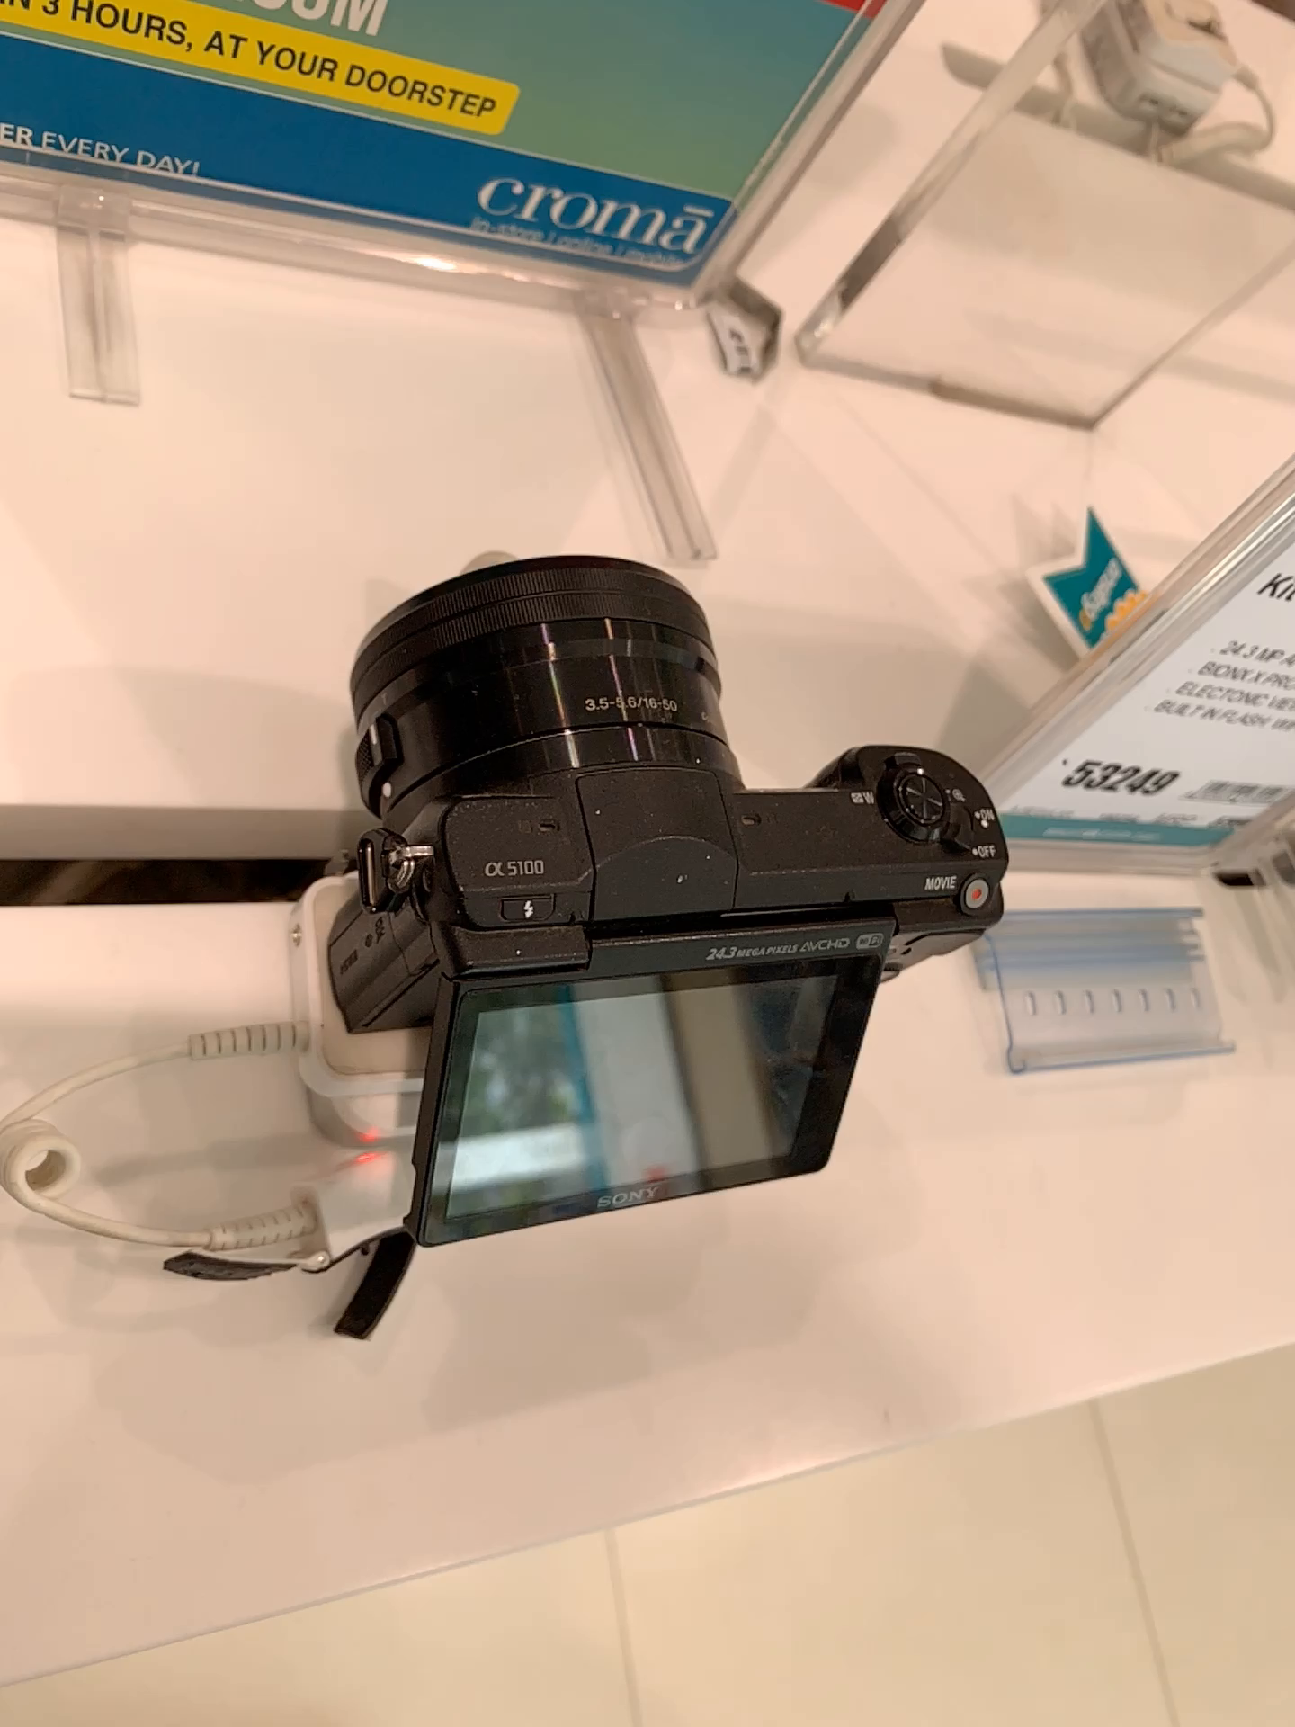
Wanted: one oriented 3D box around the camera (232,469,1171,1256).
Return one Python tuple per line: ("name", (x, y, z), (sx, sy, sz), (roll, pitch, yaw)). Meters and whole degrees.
("camera", (0.002, 0.004, 0.220), (0.111, 0.082, 0.088), (-2, 69, -30))
